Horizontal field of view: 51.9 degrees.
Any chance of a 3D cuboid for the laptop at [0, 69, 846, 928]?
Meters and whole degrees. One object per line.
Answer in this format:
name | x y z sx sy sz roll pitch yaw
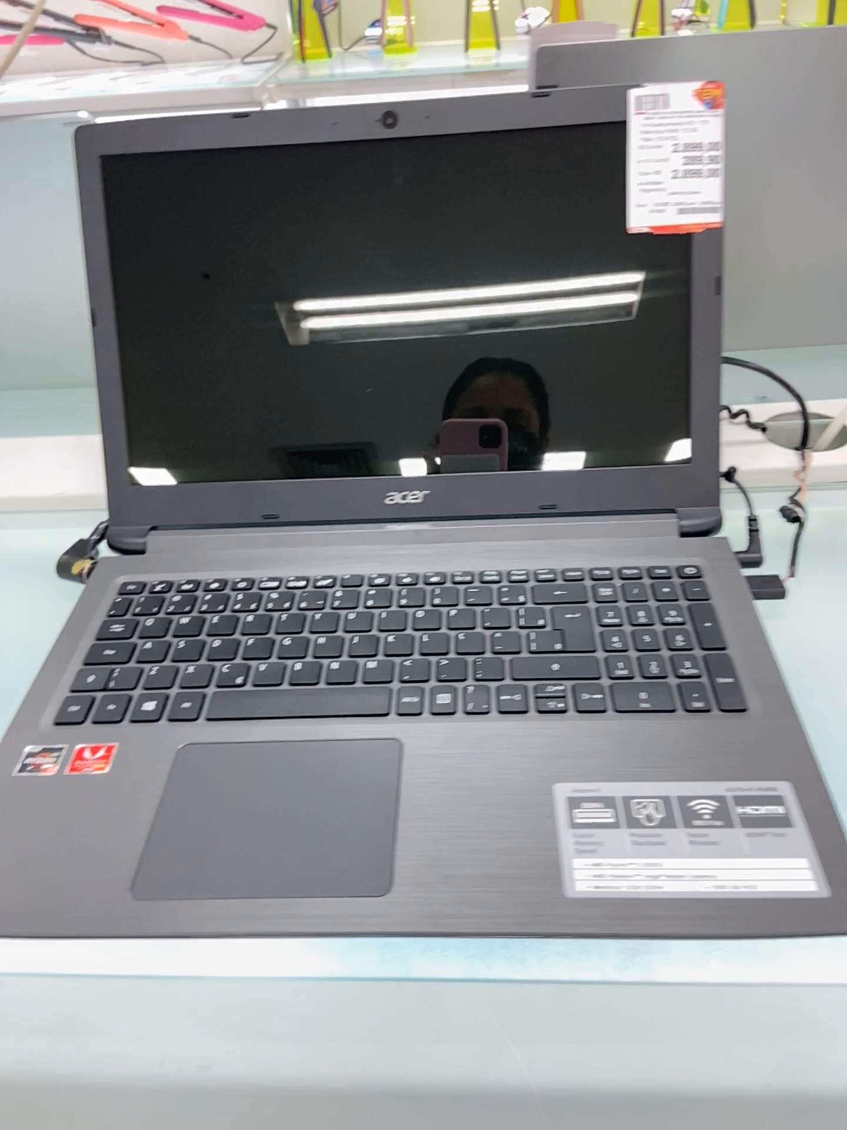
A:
laptop | -0.019 -0.063 0.383 0.340 0.194 0.355 -2 38 5
